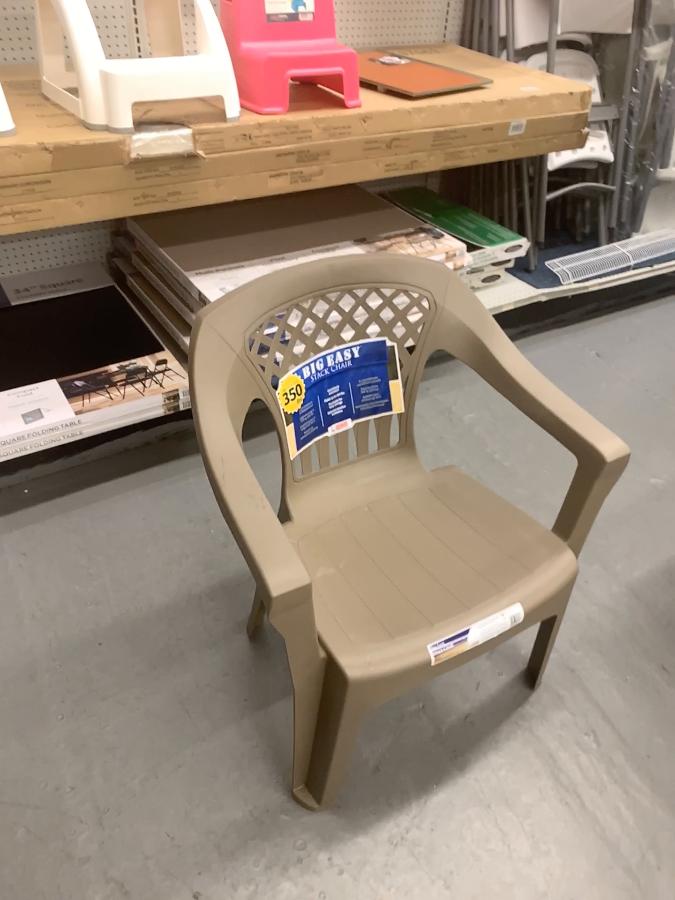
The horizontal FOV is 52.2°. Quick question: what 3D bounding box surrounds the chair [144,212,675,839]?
[{"bbox_3d":[0.136,0.114,1.366,0.767,0.878,0.589,-17,43,-24],"label":"chair"}]
